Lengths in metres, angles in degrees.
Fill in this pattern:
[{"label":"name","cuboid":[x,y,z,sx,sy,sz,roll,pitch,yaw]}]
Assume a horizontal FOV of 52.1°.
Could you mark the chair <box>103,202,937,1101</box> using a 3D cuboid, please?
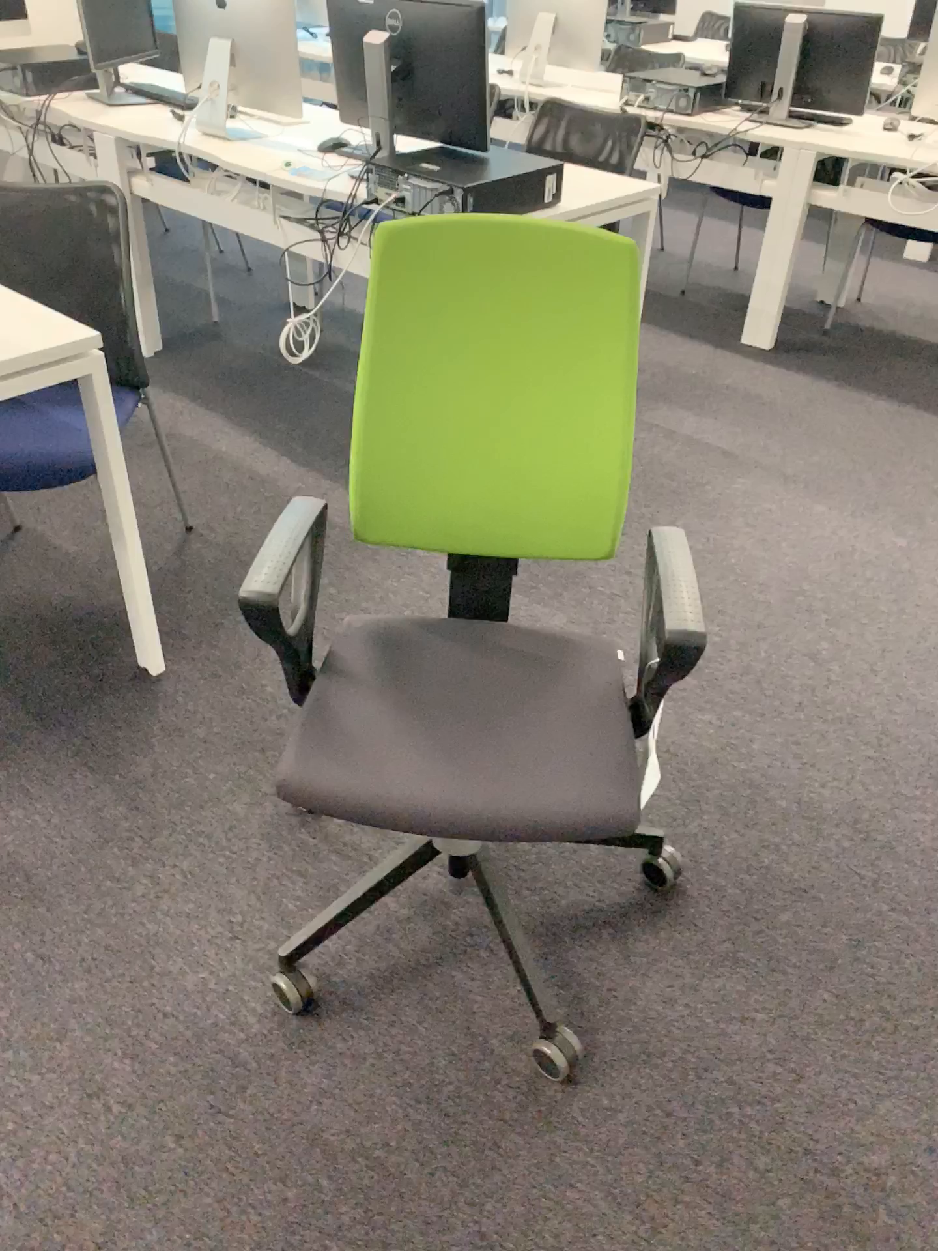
[{"label":"chair","cuboid":[0.045,0.058,1.381,0.720,1.054,0.674,4,37,1]}]
